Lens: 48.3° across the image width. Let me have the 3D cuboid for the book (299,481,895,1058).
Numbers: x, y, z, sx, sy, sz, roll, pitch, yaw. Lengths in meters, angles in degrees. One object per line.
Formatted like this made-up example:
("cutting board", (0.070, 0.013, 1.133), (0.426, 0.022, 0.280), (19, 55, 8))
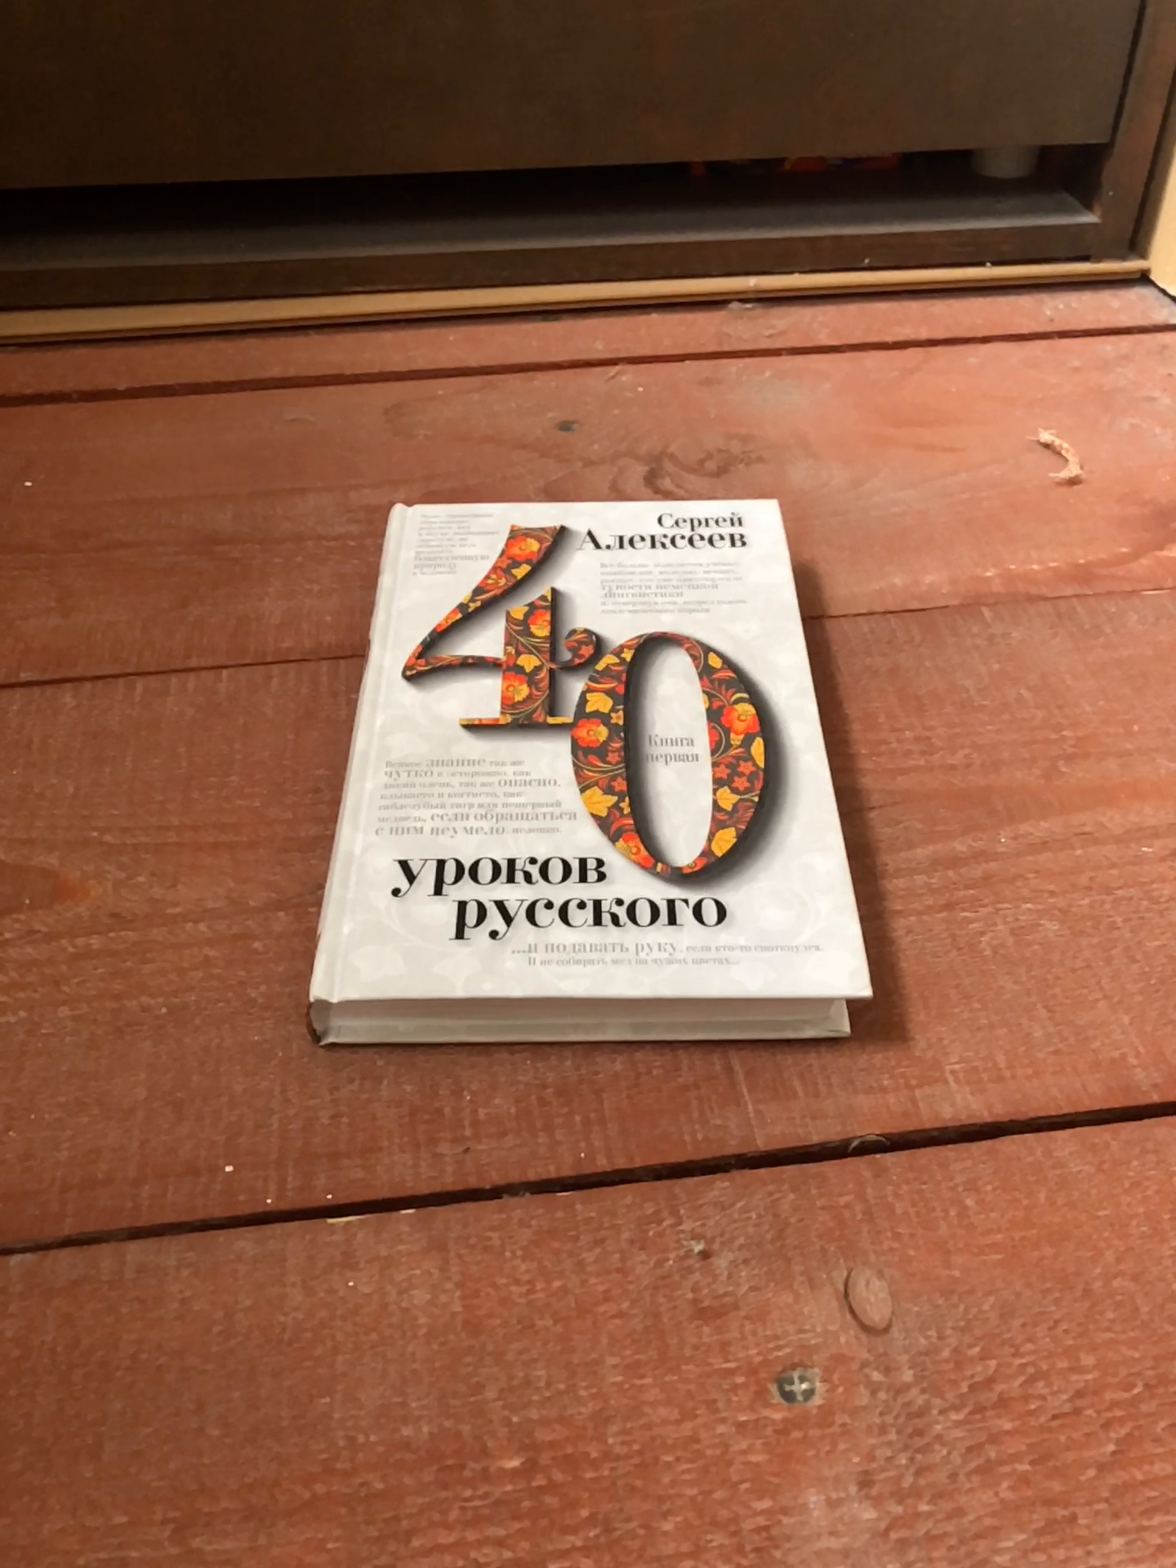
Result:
("book", (0.001, -0.017, 0.376), (0.135, 0.030, 0.201), (0, 46, 0))
